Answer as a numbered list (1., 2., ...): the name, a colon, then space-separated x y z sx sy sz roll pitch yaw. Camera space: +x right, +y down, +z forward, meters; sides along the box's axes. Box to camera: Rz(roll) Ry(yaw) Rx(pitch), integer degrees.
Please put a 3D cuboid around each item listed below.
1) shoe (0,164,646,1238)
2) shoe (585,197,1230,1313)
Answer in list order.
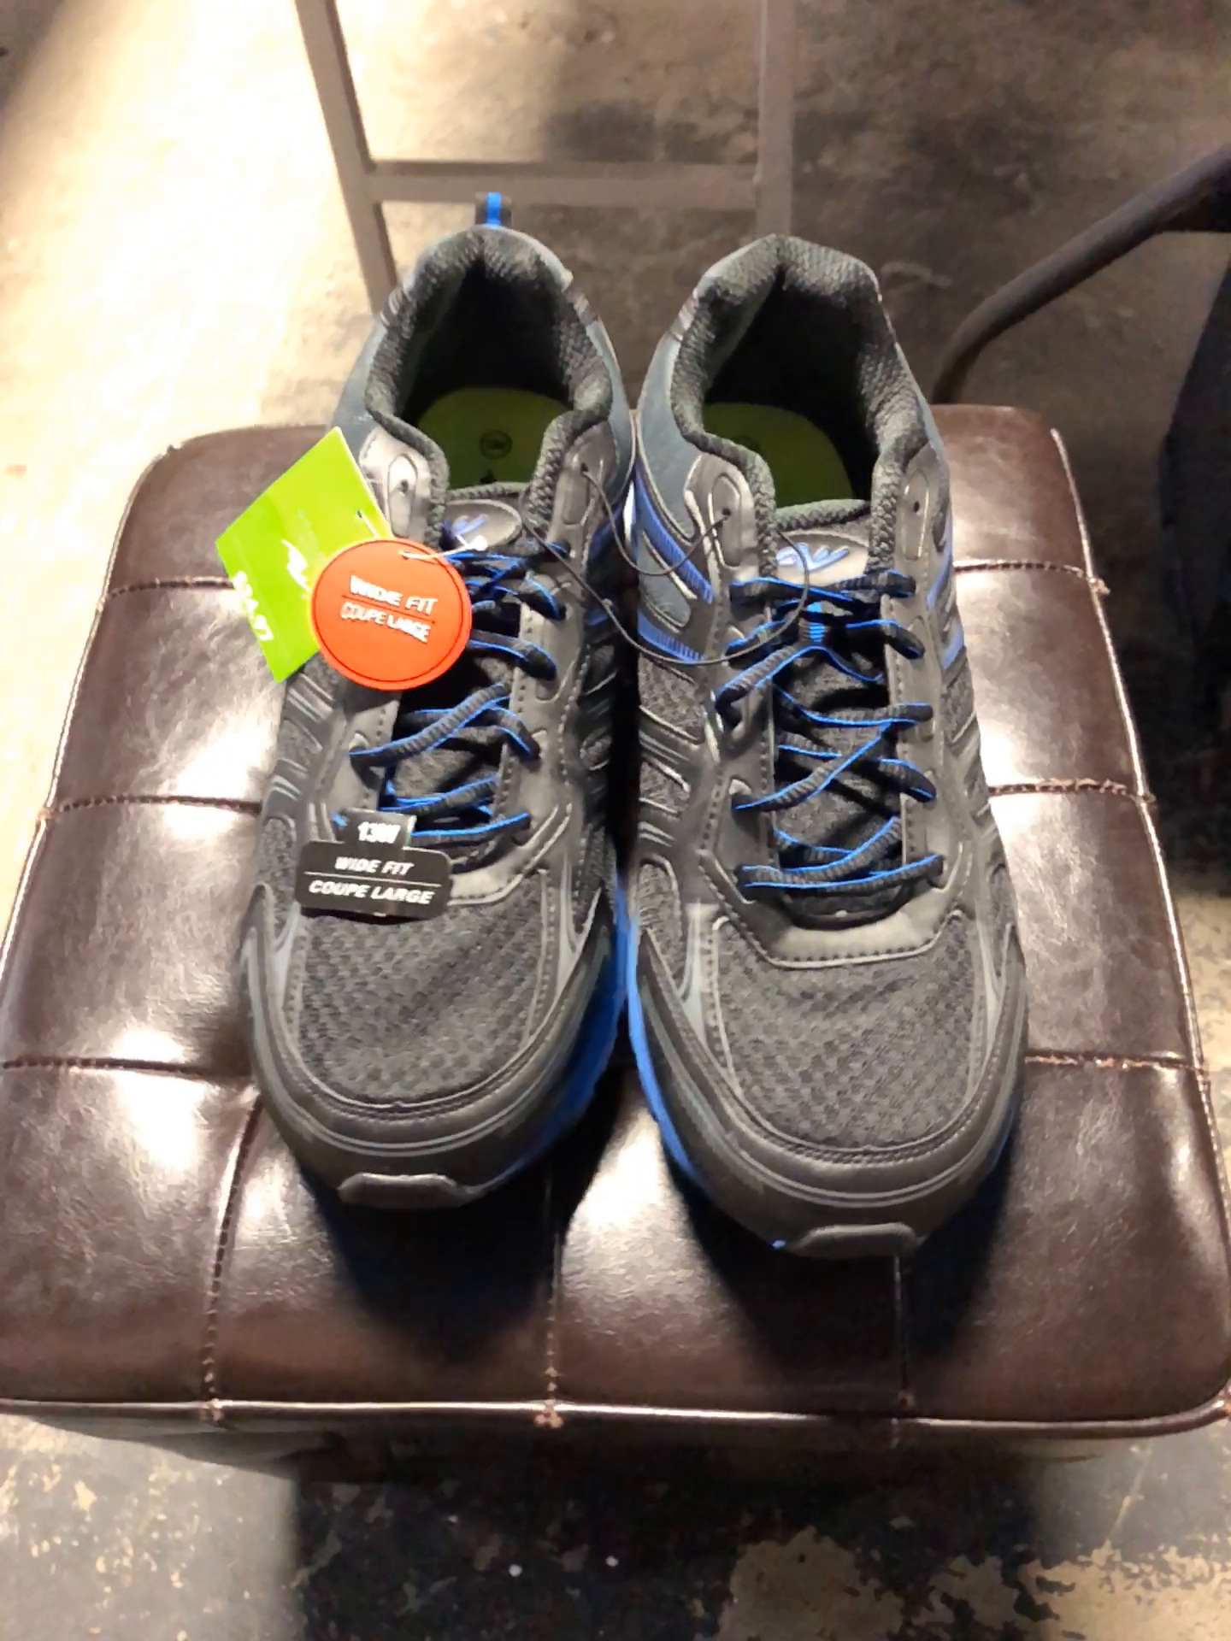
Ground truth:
1. shoe: -0.061 -0.043 0.383 0.120 0.119 0.281 2 60 5
2. shoe: 0.060 -0.033 0.390 0.130 0.099 0.312 -2 59 2
